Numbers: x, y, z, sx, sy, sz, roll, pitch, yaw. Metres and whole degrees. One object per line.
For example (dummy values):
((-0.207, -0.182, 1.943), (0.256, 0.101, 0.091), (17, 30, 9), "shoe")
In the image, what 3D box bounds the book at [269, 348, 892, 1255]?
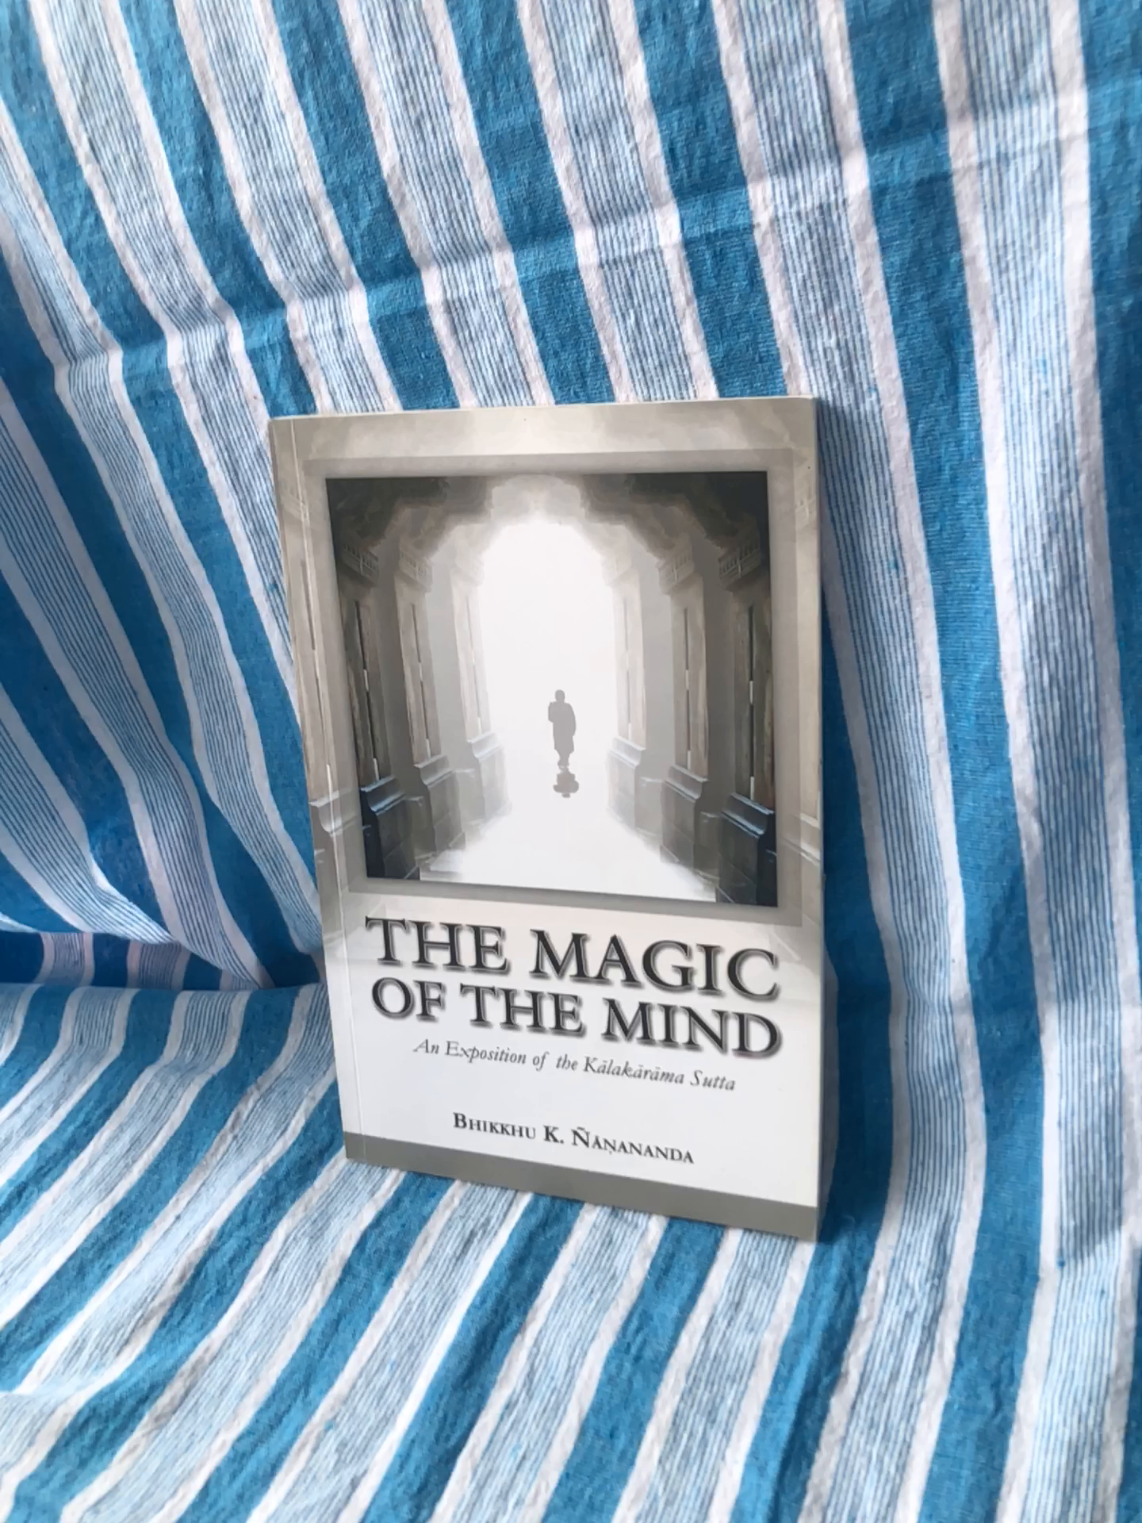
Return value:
((0.001, 0.014, 0.322), (0.150, 0.219, 0.010), (3, 15, 19), "book")
